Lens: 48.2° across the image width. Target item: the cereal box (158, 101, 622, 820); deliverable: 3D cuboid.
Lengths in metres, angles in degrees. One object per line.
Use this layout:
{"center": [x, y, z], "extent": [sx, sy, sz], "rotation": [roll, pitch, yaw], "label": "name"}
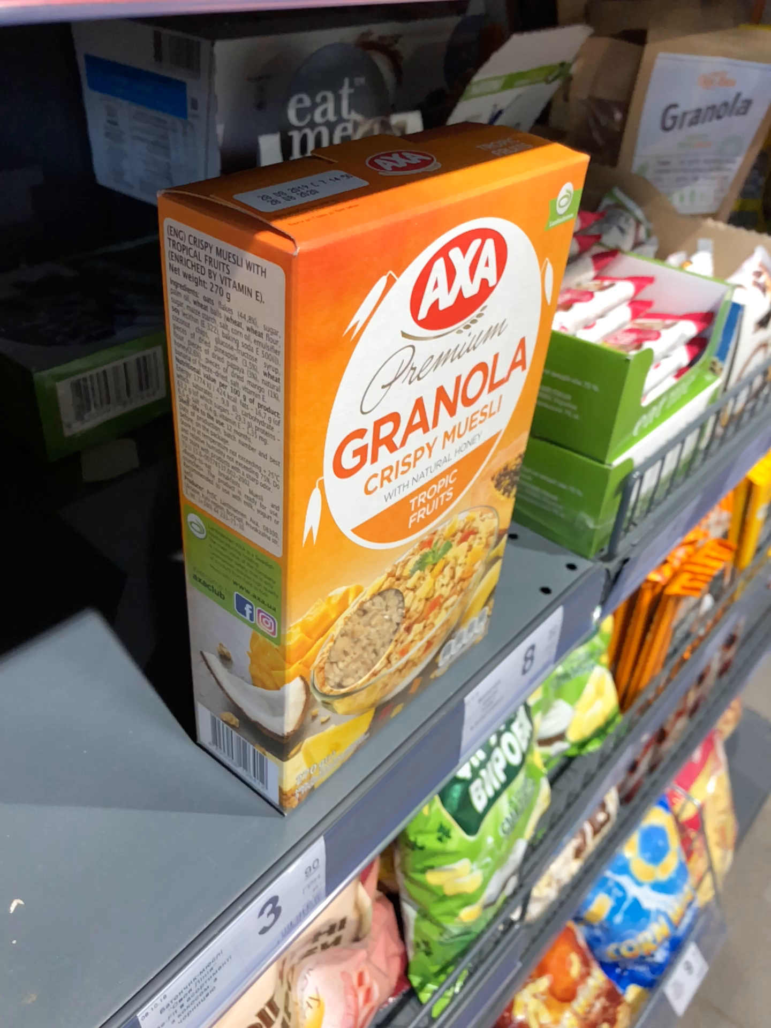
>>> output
{"center": [0.001, -0.017, 0.297], "extent": [0.050, 0.208, 0.141], "rotation": [30, 42, 28], "label": "cereal box"}
